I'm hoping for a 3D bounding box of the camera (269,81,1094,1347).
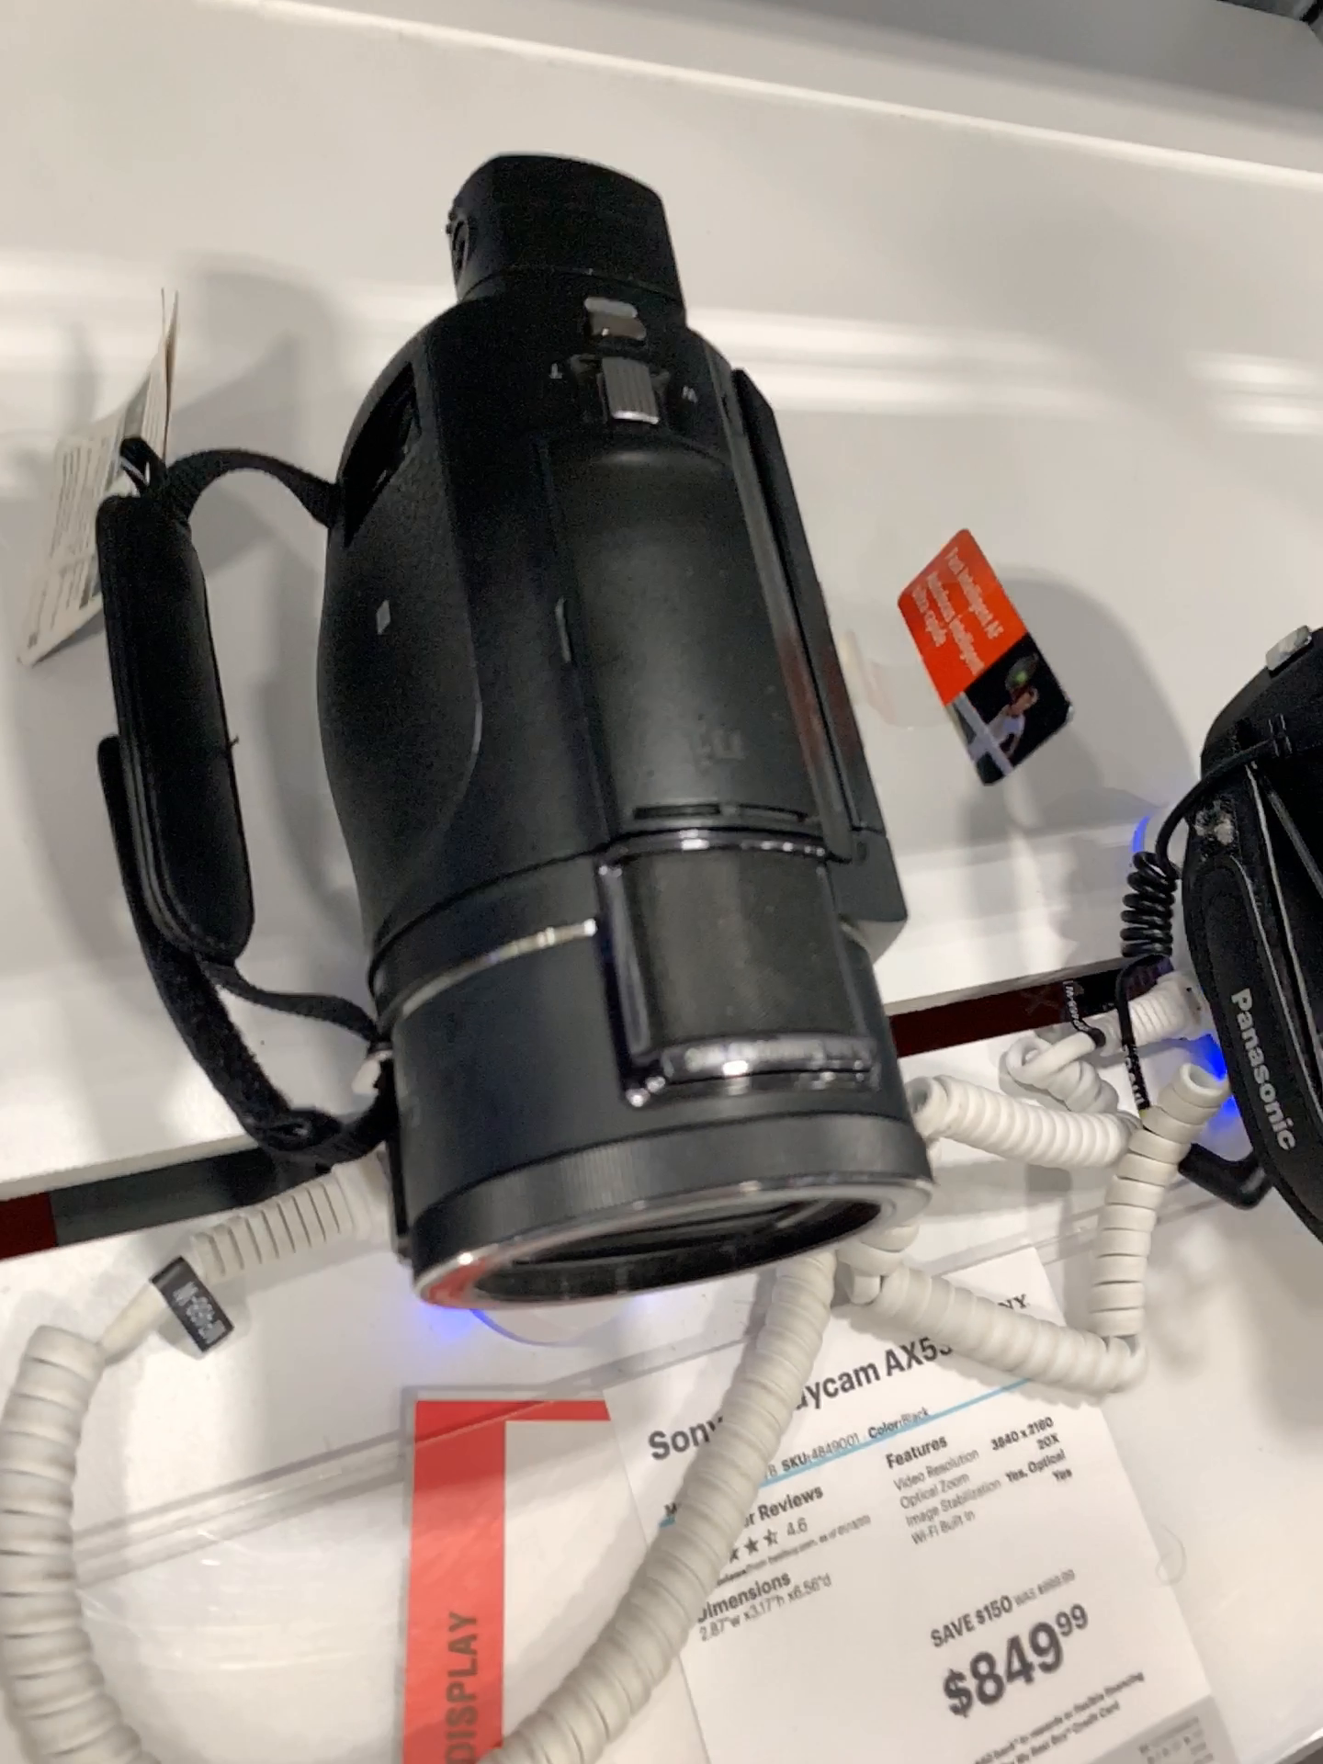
[{"bbox_3d":[-0.010,-0.022,0.195,0.070,0.071,0.151,1,65,-25],"label":"camera"}]
